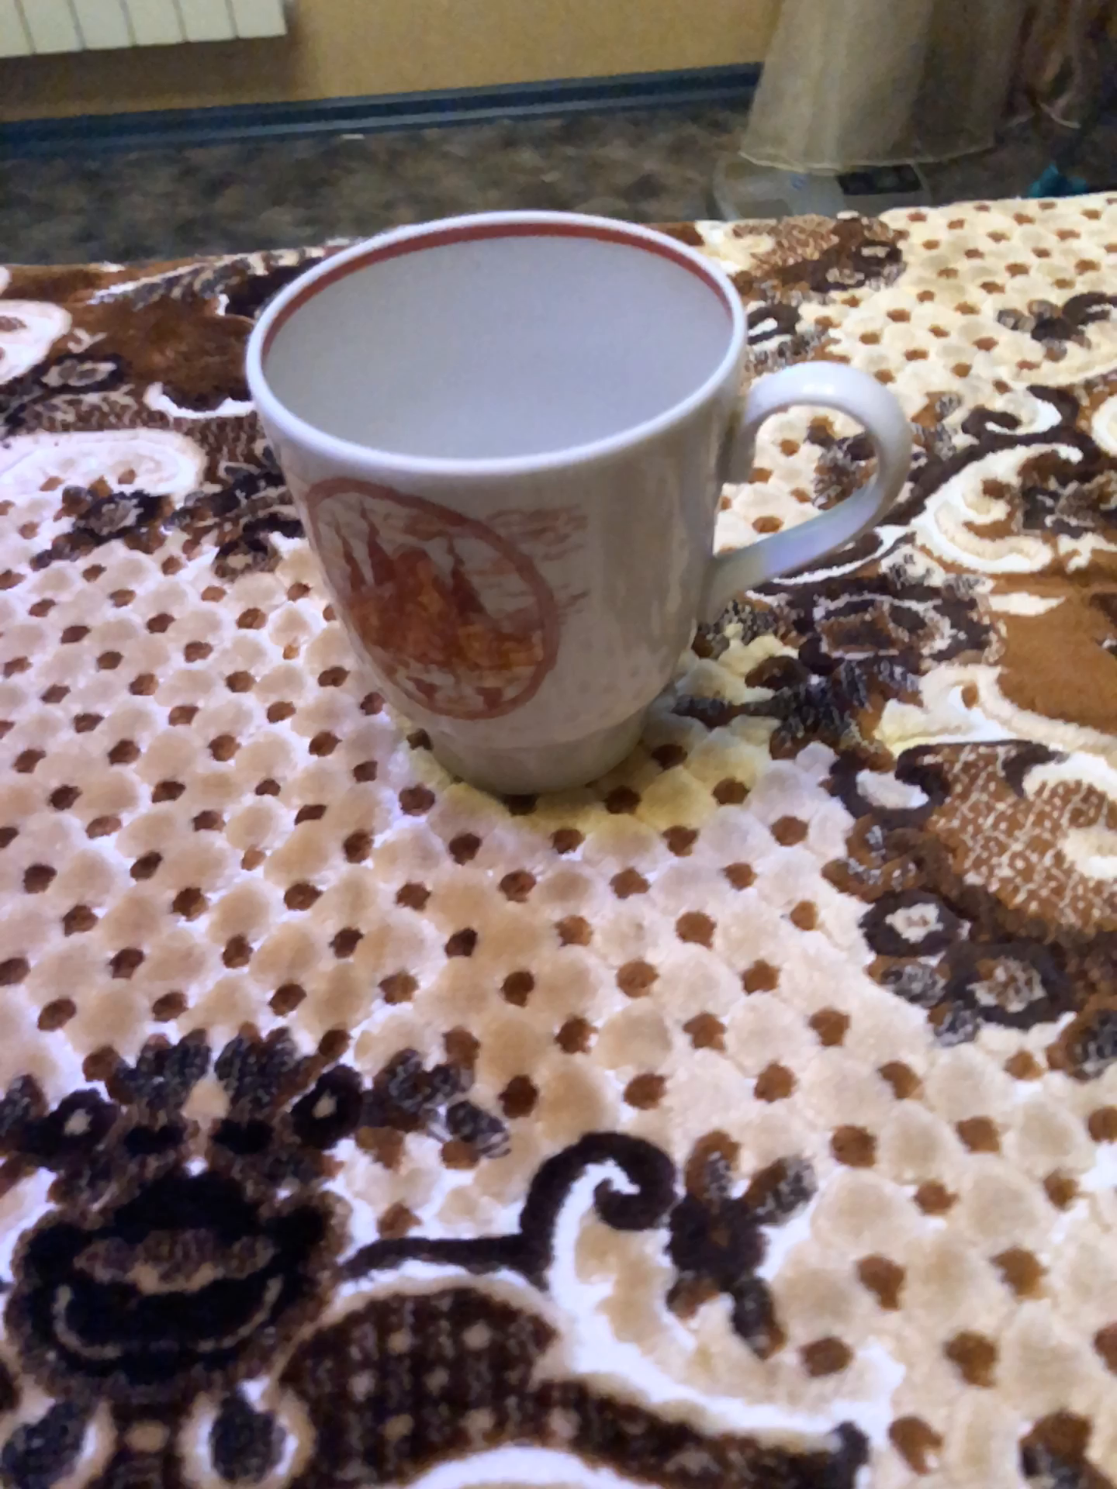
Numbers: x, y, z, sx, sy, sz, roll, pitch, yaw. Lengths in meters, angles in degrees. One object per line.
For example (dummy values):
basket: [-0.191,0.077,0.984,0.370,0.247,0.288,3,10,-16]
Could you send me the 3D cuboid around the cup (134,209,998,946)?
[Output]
cup: [0.011,-0.038,0.247,0.130,0.090,0.100,8,47,12]
